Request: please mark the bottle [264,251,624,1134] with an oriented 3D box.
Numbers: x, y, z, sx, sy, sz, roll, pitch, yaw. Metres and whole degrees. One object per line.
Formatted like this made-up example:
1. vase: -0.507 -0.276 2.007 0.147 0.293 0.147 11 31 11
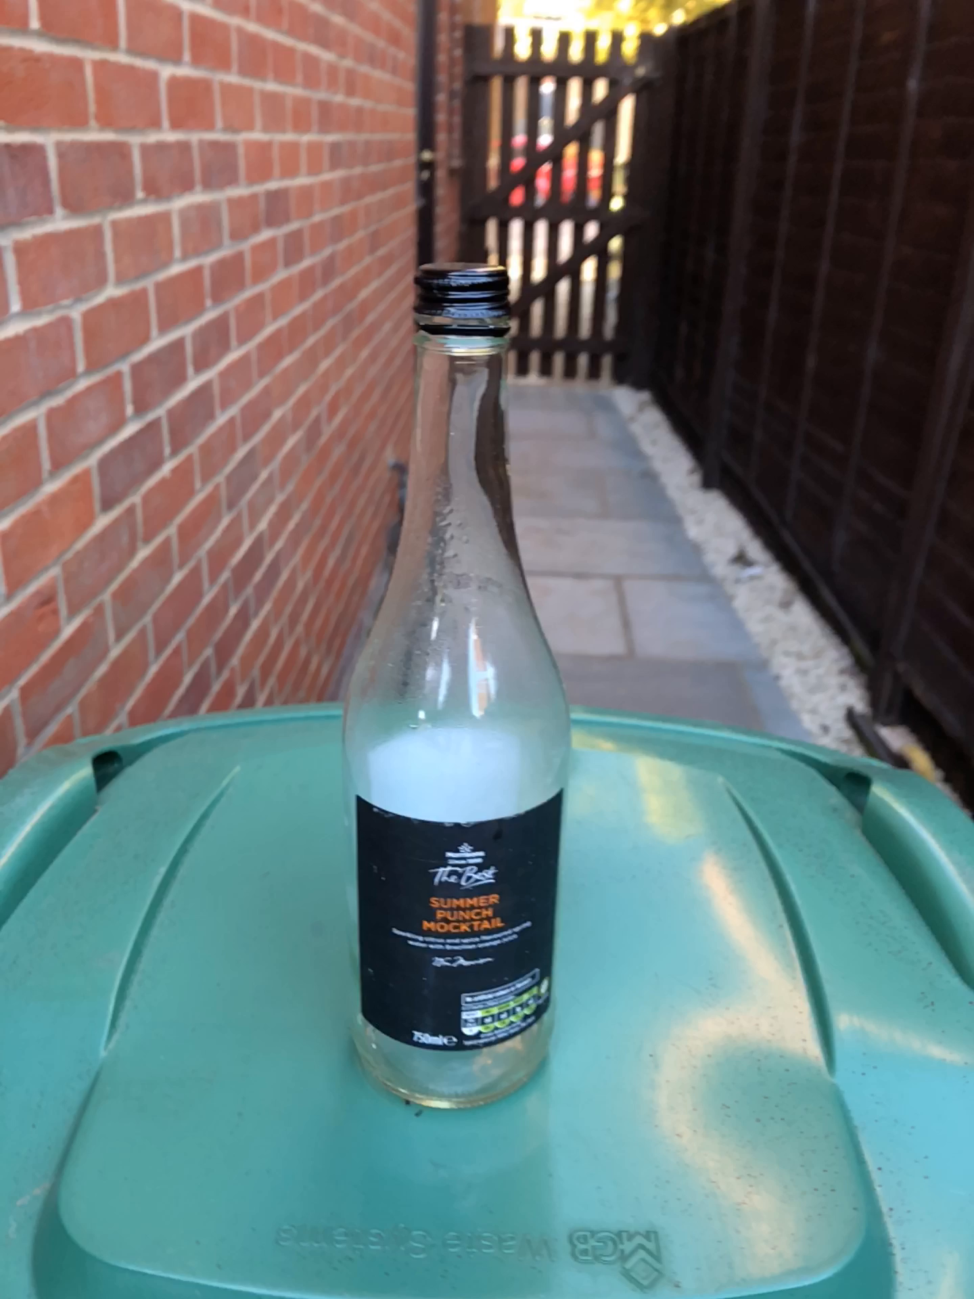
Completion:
1. bottle: -0.018 0.023 0.365 0.090 0.288 0.081 -1 25 -6
